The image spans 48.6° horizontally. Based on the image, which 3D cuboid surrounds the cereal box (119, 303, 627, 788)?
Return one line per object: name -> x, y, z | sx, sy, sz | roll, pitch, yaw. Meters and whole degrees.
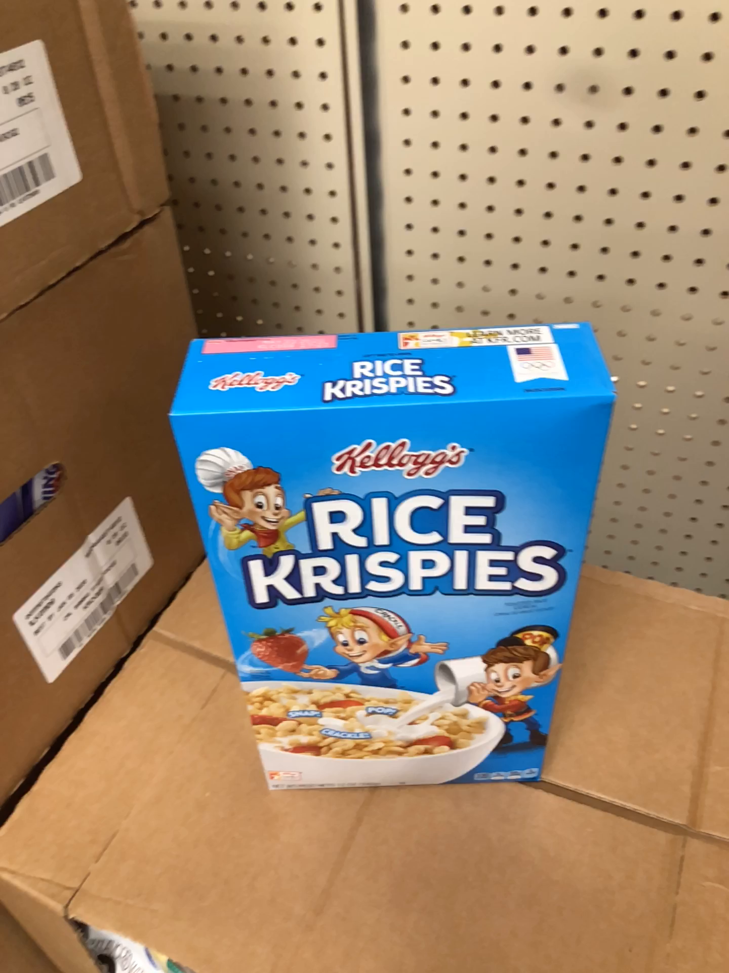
cereal box -> 0.013, 0.062, 0.472 | 0.210, 0.329, 0.070 | -3, 44, 2
